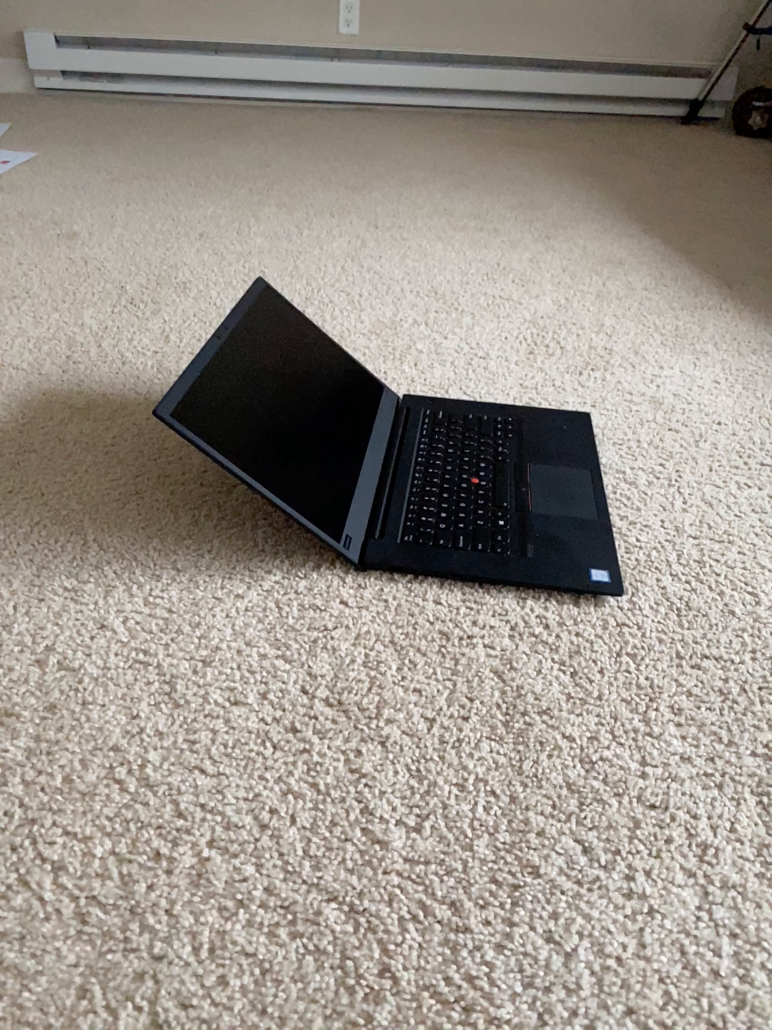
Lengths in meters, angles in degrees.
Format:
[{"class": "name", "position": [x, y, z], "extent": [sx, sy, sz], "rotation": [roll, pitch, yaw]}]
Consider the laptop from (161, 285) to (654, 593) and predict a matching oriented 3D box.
[{"class": "laptop", "position": [0.033, -0.109, 0.872], "extent": [0.432, 0.141, 0.362], "rotation": [6, 35, 5]}]
